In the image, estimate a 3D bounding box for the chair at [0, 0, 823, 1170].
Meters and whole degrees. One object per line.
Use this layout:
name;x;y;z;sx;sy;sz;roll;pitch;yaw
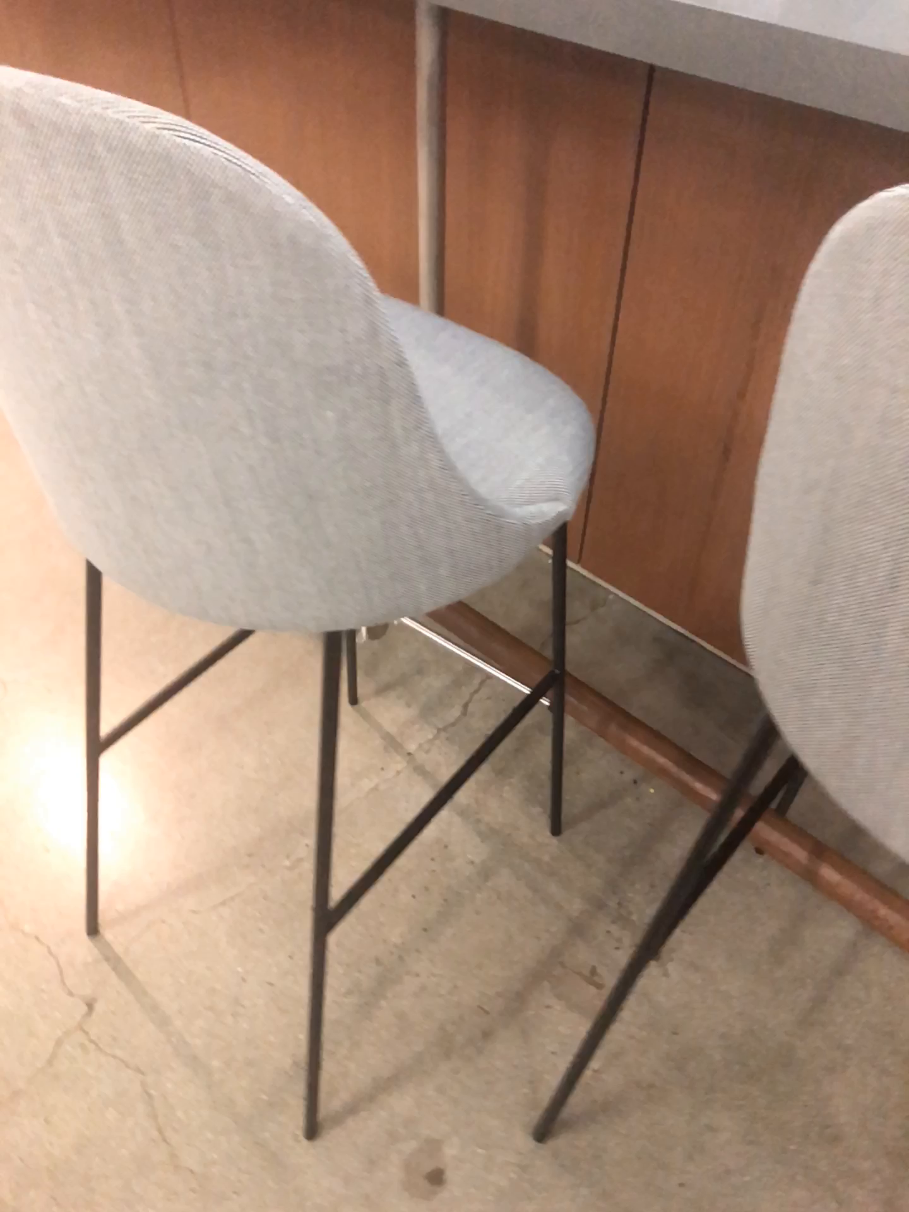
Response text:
chair;-0.146;-0.057;1.019;0.511;1.090;0.634;30;51;27
